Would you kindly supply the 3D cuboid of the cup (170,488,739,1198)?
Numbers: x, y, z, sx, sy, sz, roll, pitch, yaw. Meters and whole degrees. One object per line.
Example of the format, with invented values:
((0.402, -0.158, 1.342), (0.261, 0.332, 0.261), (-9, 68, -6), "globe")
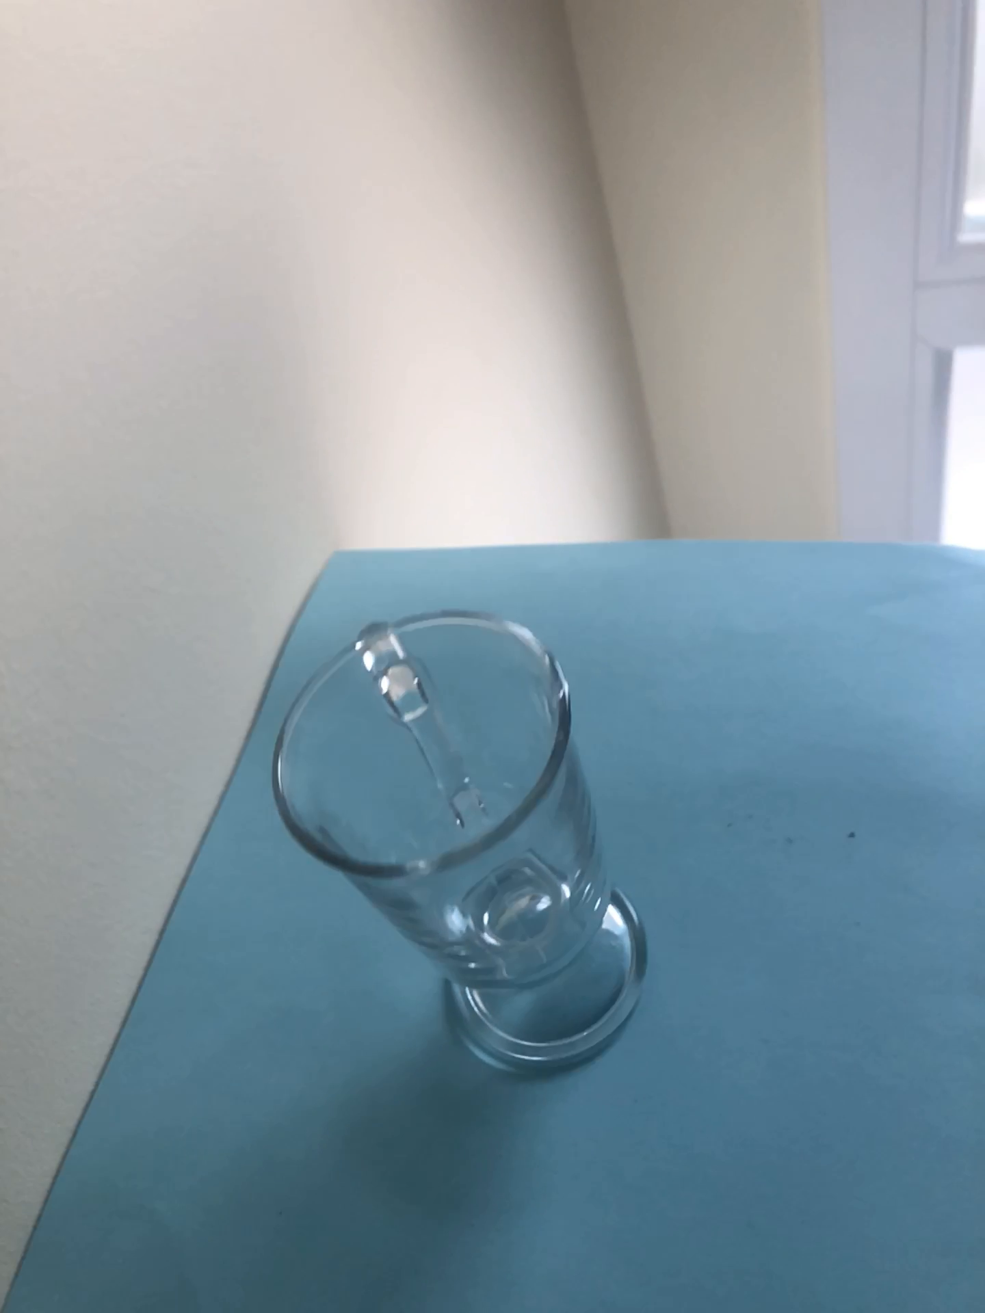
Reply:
((-0.005, 0.047, 0.257), (0.070, 0.119, 0.100), (-28, 49, -4), "cup")
